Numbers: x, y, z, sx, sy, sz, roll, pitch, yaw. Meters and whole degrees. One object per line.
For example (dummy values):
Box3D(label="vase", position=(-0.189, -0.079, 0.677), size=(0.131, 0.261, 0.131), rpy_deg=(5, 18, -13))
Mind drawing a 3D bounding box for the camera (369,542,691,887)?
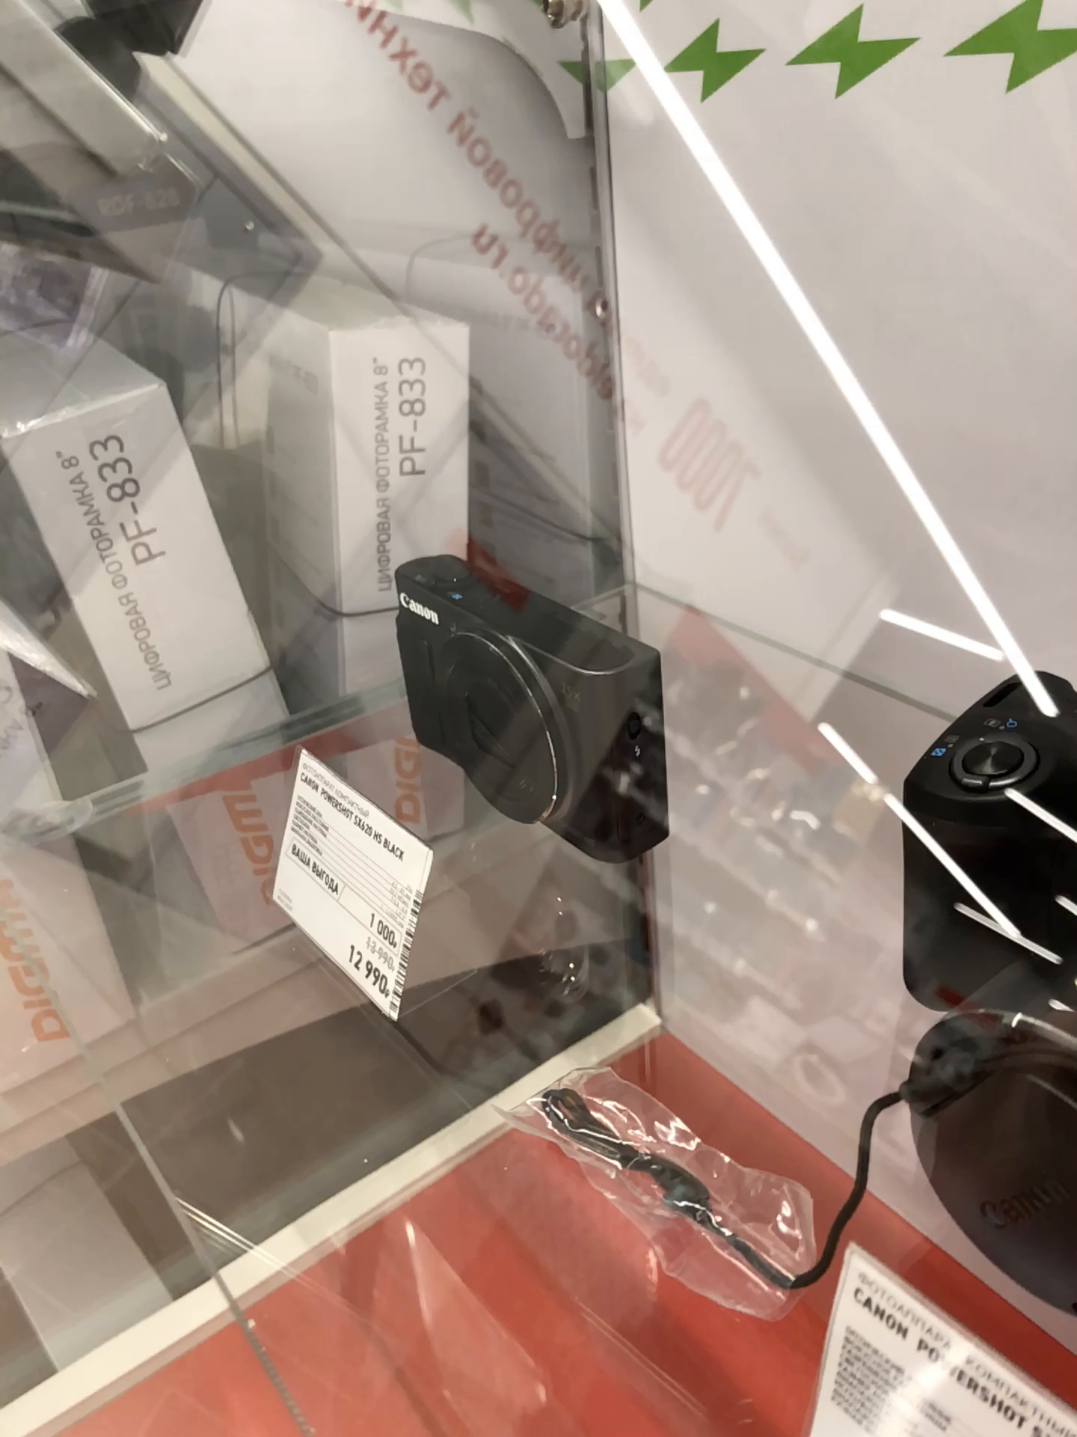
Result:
Box3D(label="camera", position=(-0.004, -0.005, 0.322), size=(0.030, 0.055, 0.098), rpy_deg=(-24, 33, -28))
